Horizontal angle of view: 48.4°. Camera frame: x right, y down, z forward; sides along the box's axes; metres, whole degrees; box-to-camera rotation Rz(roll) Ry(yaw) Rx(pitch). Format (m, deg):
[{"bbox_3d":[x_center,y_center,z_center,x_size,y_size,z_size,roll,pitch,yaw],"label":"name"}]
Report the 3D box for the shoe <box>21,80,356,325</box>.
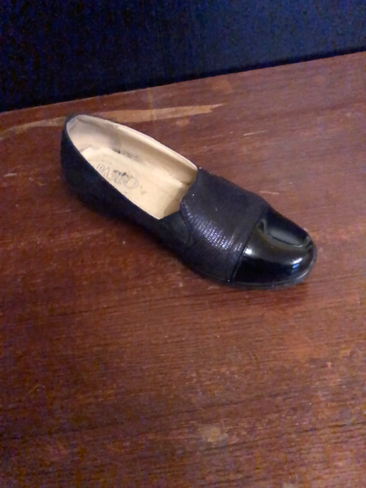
[{"bbox_3d":[-0.002,-0.042,0.332,0.237,0.070,0.090,27,62,18],"label":"shoe"}]
